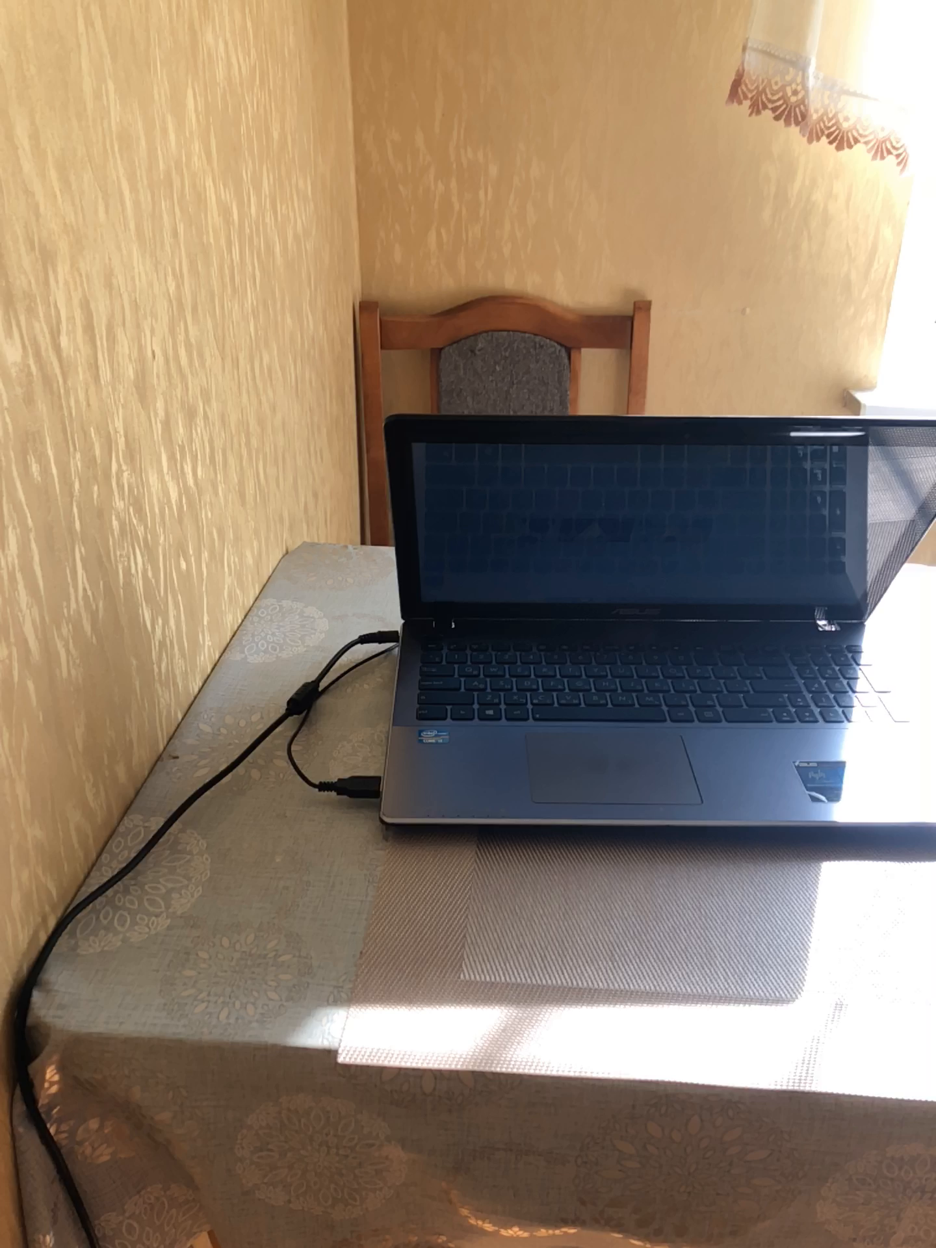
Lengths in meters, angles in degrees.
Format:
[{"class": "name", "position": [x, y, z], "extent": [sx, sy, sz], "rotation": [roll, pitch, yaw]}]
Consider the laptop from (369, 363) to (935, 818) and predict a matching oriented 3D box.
[{"class": "laptop", "position": [0.131, -0.036, 0.650], "extent": [0.362, 0.200, 0.245], "rotation": [0, 27, 0]}]
